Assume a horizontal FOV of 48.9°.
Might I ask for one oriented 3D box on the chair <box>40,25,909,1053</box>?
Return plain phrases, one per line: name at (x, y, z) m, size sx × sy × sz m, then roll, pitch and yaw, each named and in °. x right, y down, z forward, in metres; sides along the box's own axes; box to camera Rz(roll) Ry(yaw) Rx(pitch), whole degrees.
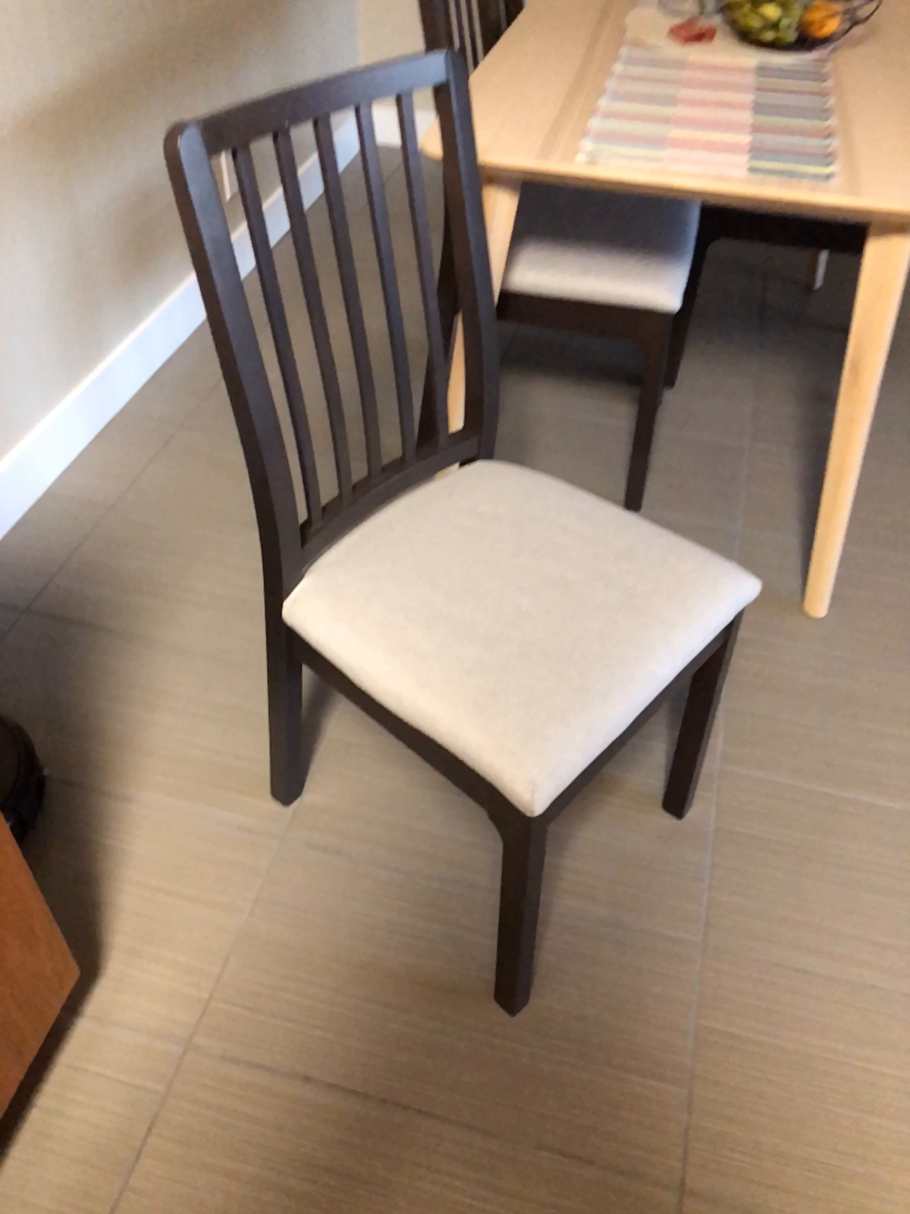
chair at (0.056, -0.087, 1.152) m, size 0.591 × 0.846 × 0.581 m, roll 31°, pitch 50°, yaw 28°
